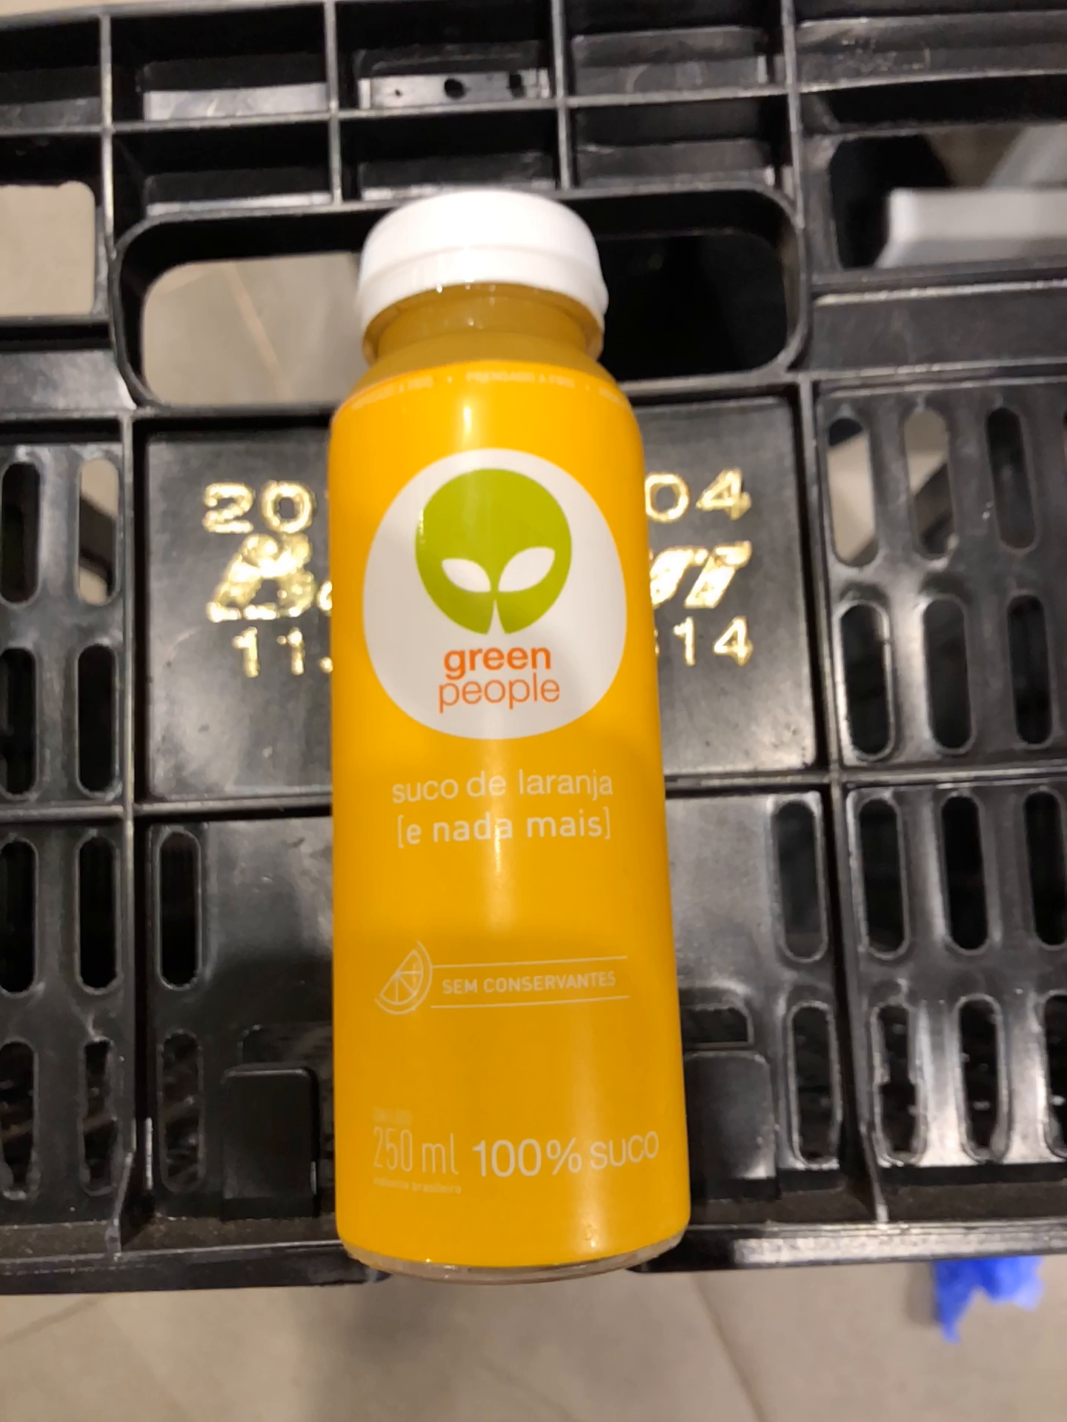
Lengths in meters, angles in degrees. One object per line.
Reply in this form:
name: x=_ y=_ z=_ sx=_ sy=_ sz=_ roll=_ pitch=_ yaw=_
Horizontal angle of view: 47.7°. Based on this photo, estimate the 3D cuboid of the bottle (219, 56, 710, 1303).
bottle: x=-0.013 y=-0.008 z=0.199 sx=0.060 sy=0.050 sz=0.180 roll=-5 pitch=80 yaw=1
